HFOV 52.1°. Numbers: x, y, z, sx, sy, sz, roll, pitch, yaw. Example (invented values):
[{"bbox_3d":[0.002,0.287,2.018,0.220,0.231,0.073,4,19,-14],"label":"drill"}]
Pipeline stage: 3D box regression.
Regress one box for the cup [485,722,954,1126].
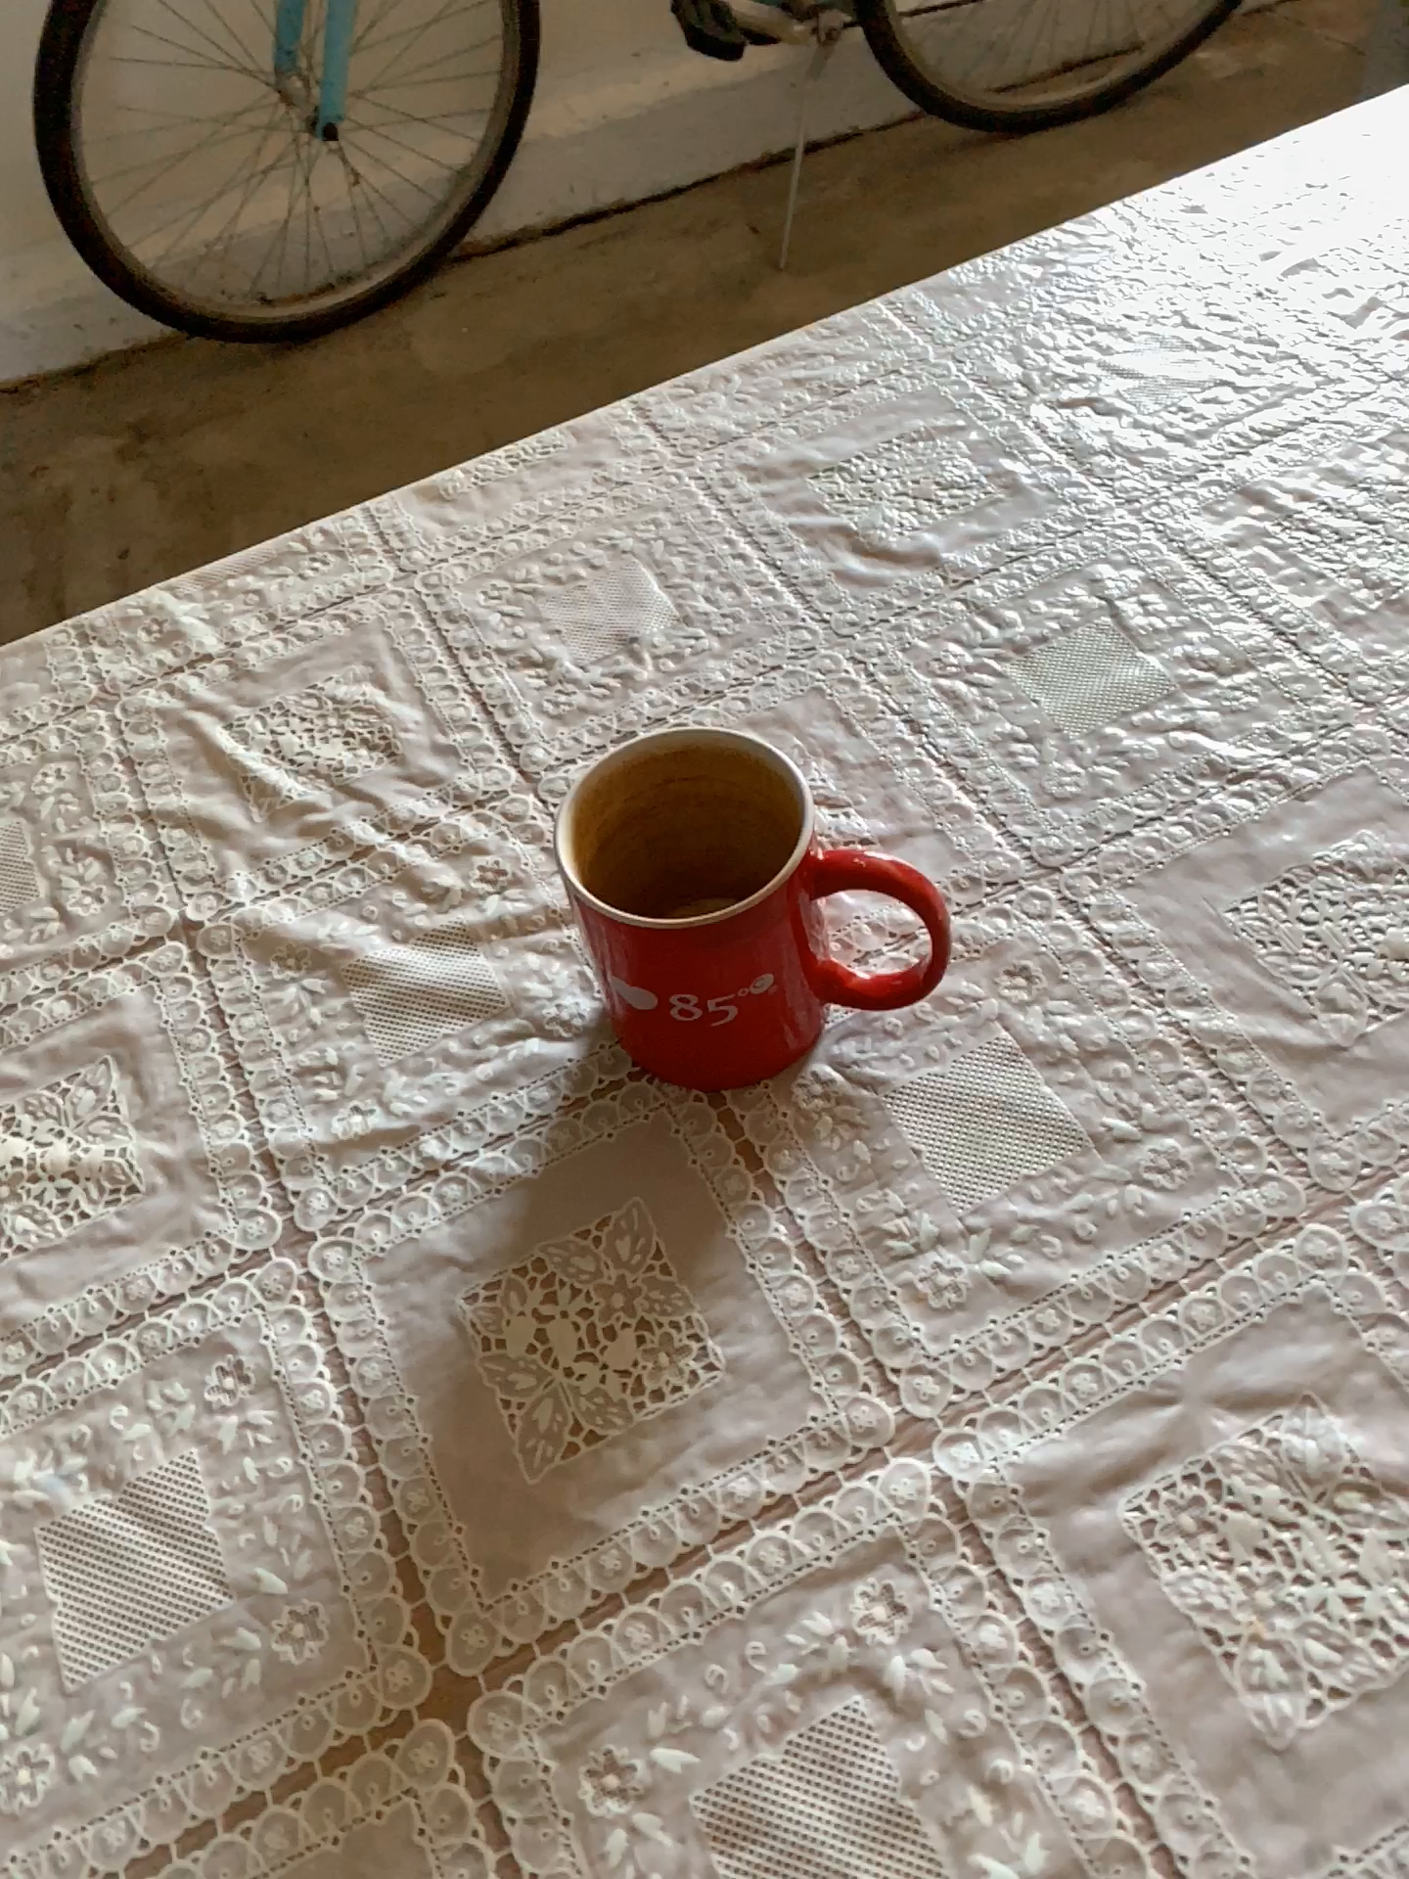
[{"bbox_3d":[0.013,-0.004,0.460,0.130,0.090,0.090,1,55,10],"label":"cup"}]
